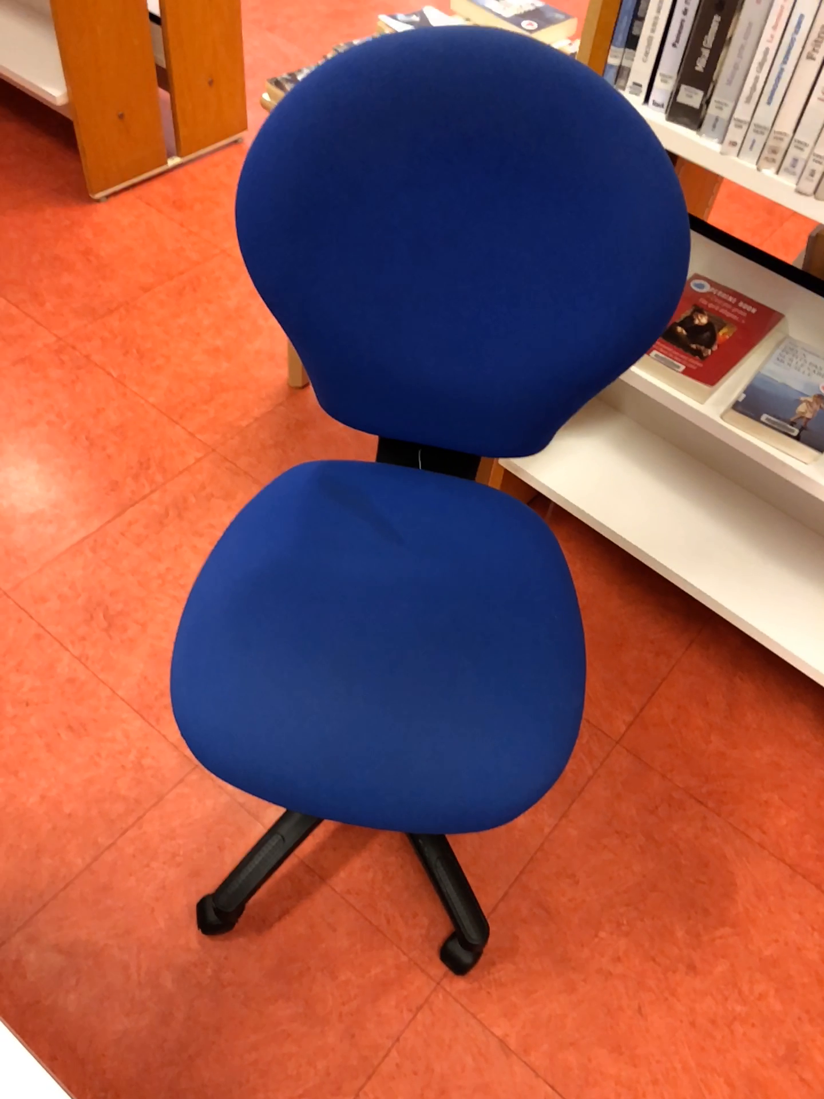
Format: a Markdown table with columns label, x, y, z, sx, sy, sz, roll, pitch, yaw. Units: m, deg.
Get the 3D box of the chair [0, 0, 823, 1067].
| label | x | y | z | sx | sy | sz | roll | pitch | yaw |
| --- | --- | --- | --- | --- | --- | --- | --- | --- | --- |
| chair | -0.021 | 0.036 | 0.985 | 0.660 | 0.915 | 0.623 | 16 | 52 | 7 |
